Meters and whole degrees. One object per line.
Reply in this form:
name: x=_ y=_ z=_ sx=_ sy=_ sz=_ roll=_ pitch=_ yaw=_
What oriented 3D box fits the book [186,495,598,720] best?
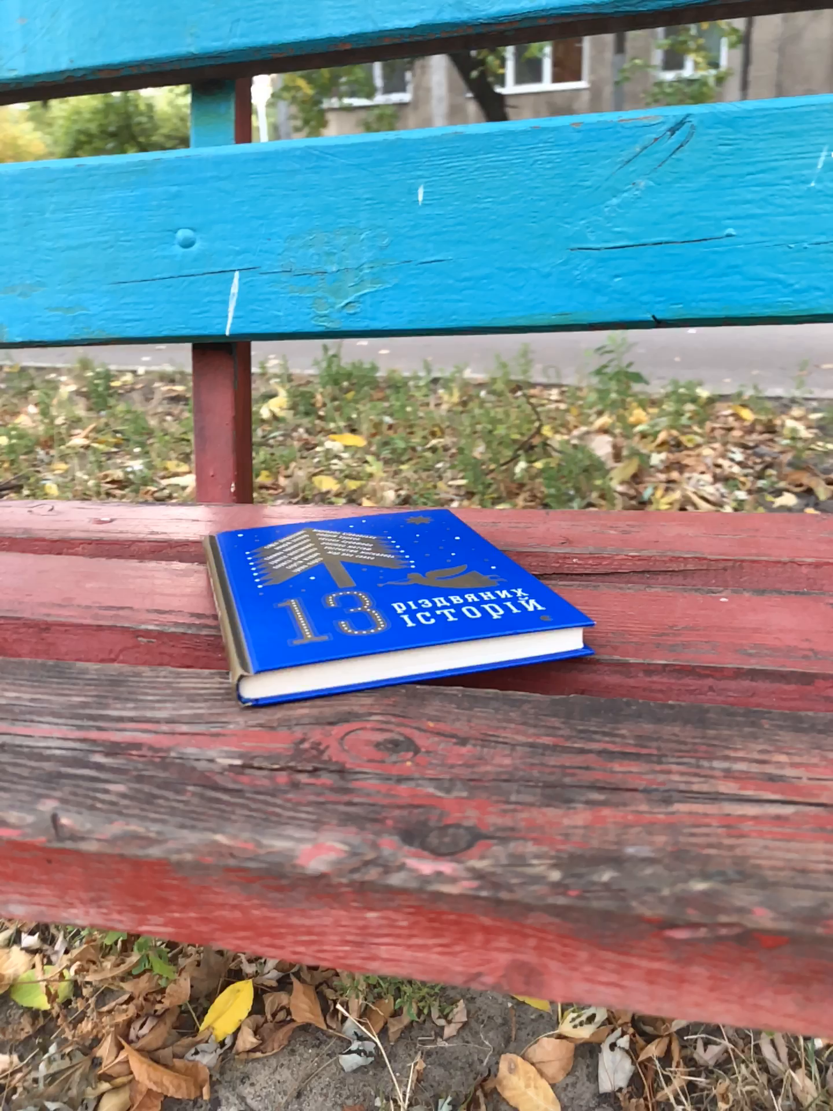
book: x=-0.029 y=0.012 z=0.455 sx=0.155 sy=0.020 sz=0.213 roll=-7 pitch=18 yaw=-15
